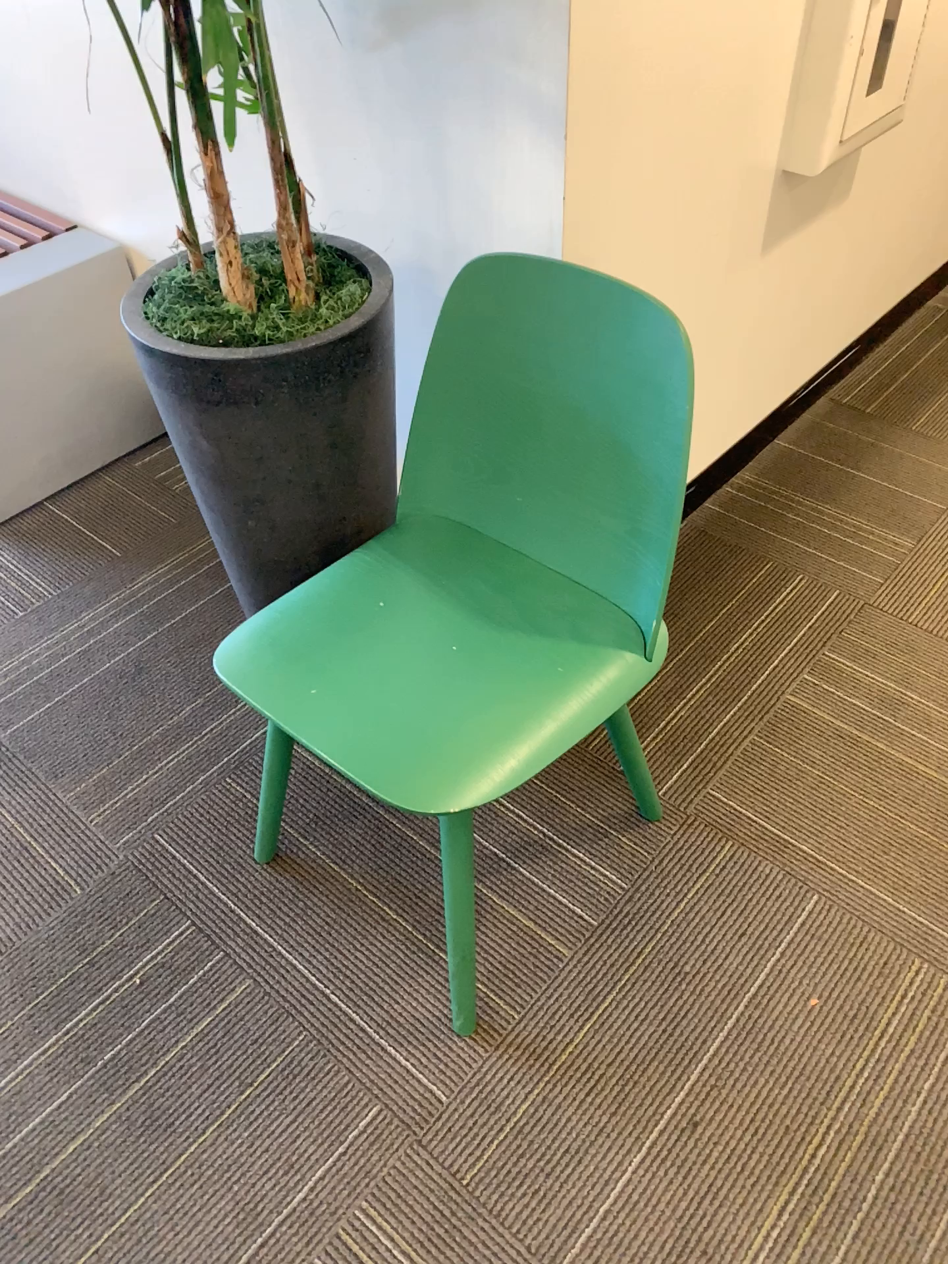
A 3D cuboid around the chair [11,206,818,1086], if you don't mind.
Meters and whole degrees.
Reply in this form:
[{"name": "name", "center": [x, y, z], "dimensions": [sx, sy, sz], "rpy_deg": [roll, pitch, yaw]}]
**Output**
[{"name": "chair", "center": [-0.031, 0.009, 1.188], "dimensions": [0.502, 0.746, 0.601], "rpy_deg": [31, 53, 29]}]
